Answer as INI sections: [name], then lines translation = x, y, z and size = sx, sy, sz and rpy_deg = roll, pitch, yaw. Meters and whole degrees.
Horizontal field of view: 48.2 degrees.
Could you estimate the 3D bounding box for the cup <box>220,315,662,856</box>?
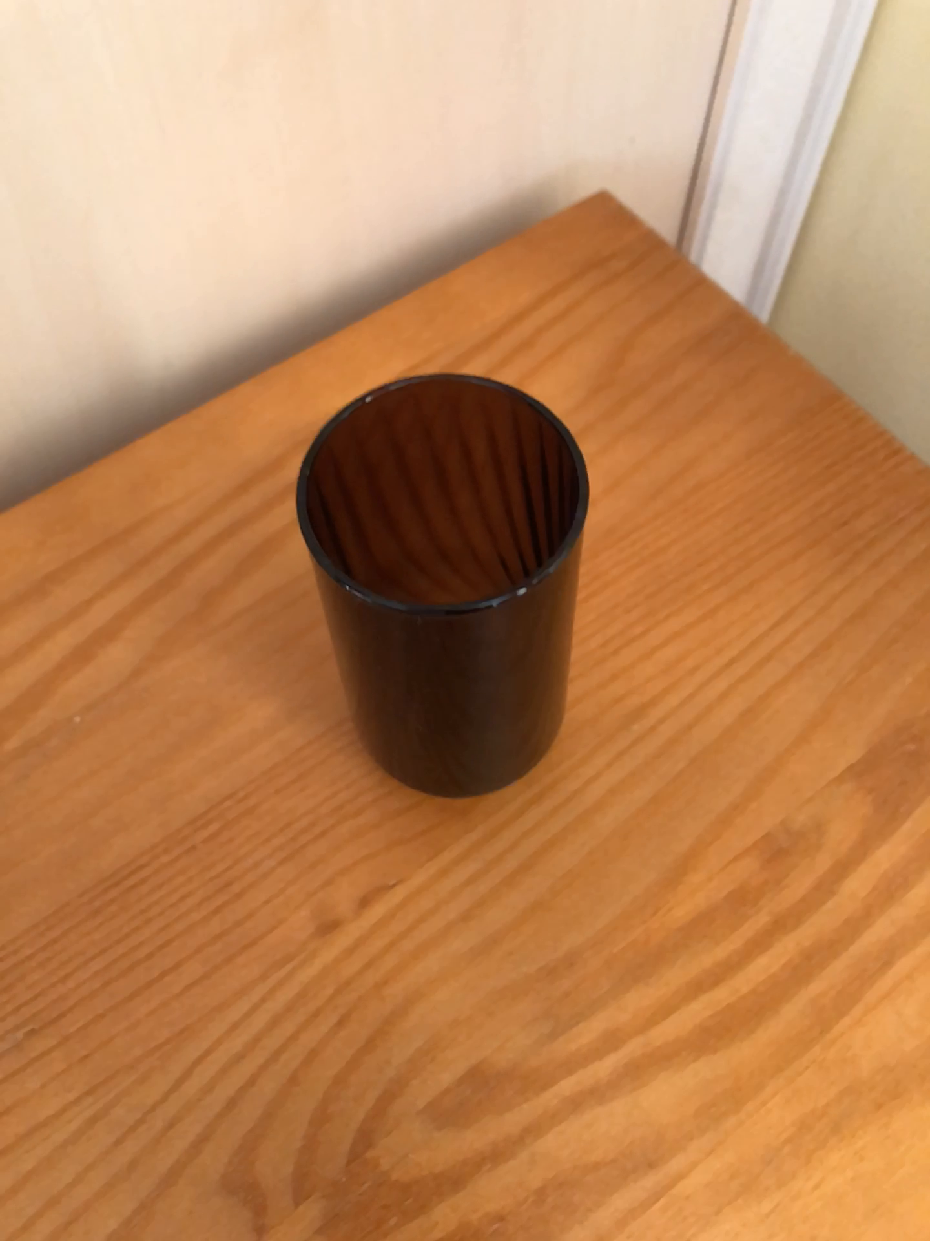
[cup]
translation = -0.003, -0.001, 0.249
size = 0.061, 0.112, 0.061
rpy_deg = 0, 62, 0
